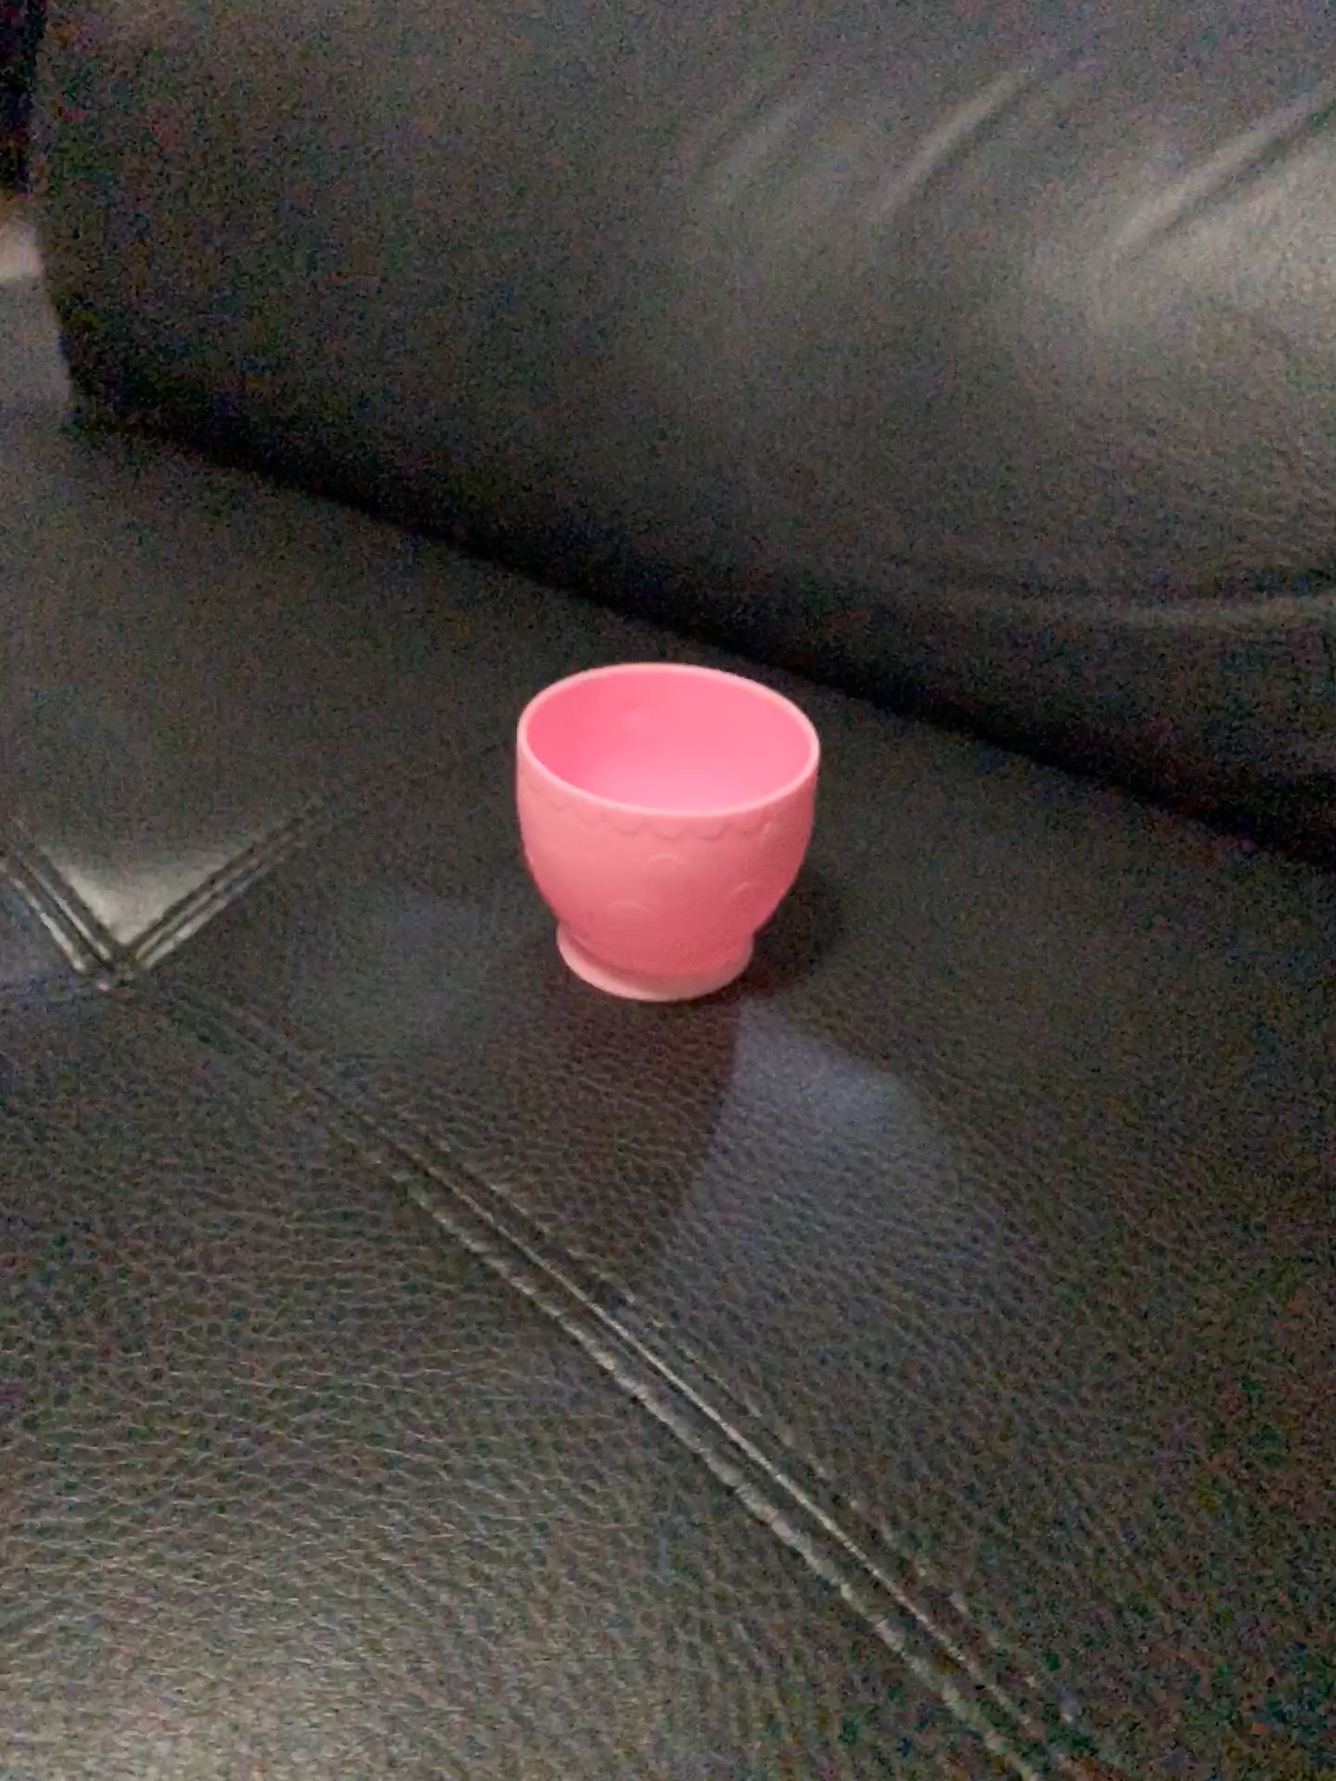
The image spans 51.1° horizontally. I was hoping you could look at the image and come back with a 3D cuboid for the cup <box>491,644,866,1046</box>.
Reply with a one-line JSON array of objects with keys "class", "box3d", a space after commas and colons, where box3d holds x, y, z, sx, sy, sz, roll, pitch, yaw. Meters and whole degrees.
[{"class": "cup", "box3d": [-0.002, -0.013, 0.284, 0.060, 0.045, 0.078, -4, 32, -9]}]
